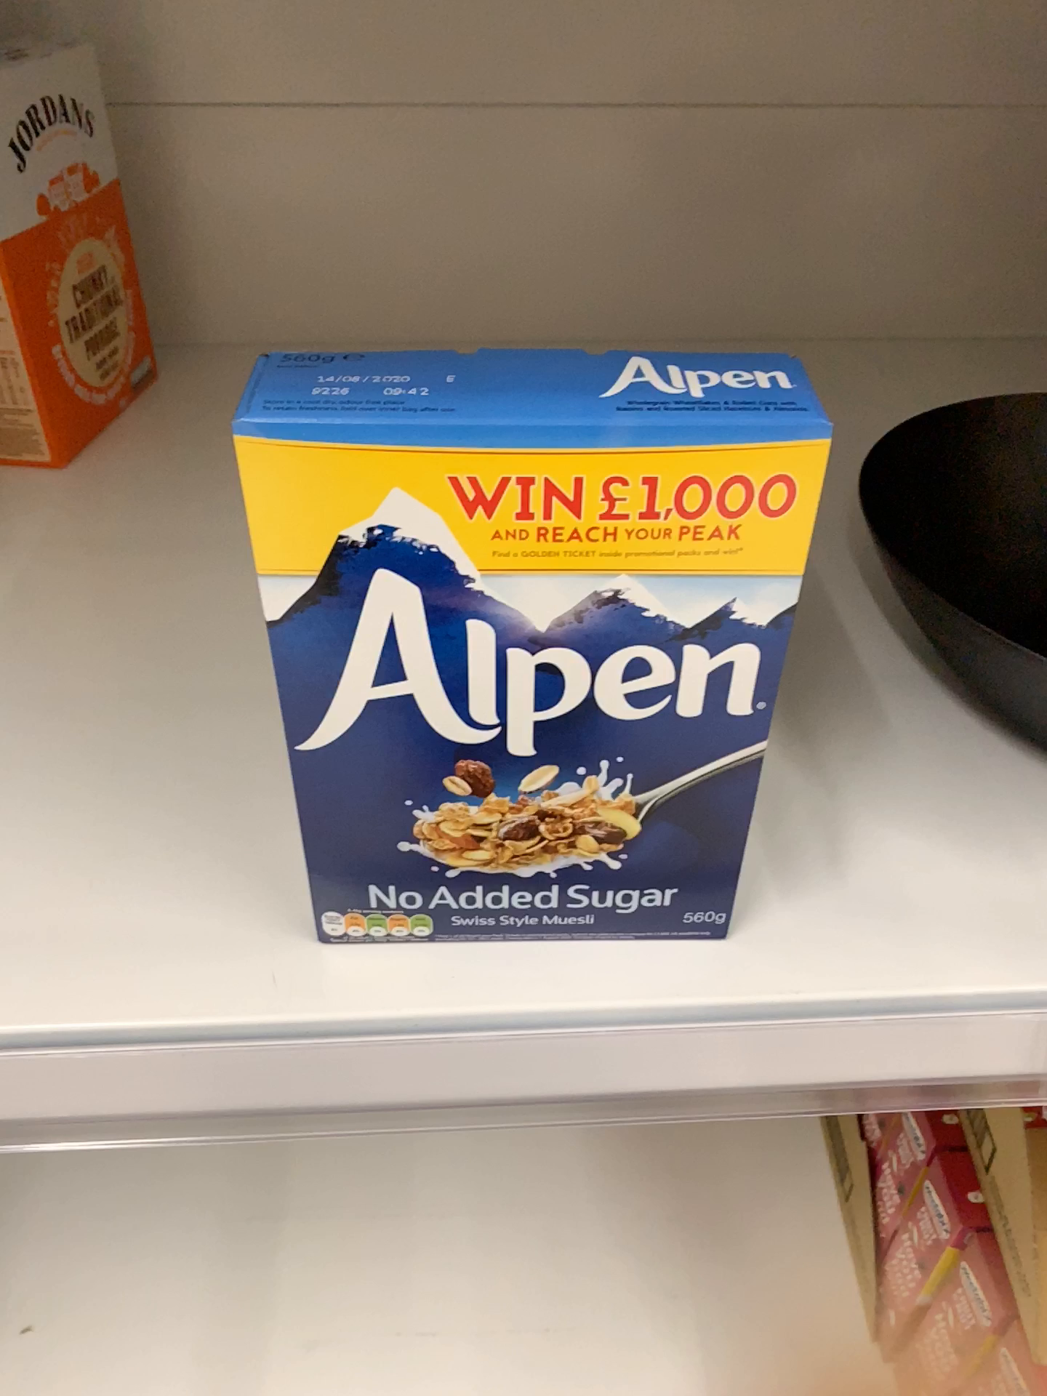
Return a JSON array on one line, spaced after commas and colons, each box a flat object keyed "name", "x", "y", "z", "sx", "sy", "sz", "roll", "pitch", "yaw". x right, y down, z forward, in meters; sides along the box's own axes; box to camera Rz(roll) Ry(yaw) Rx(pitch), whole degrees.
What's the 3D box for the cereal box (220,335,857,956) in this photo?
[{"name": "cereal box", "x": 0.003, "y": -0.005, "z": 0.401, "sx": 0.180, "sy": 0.238, "sz": 0.061, "roll": 0, "pitch": 38, "yaw": -1}]
